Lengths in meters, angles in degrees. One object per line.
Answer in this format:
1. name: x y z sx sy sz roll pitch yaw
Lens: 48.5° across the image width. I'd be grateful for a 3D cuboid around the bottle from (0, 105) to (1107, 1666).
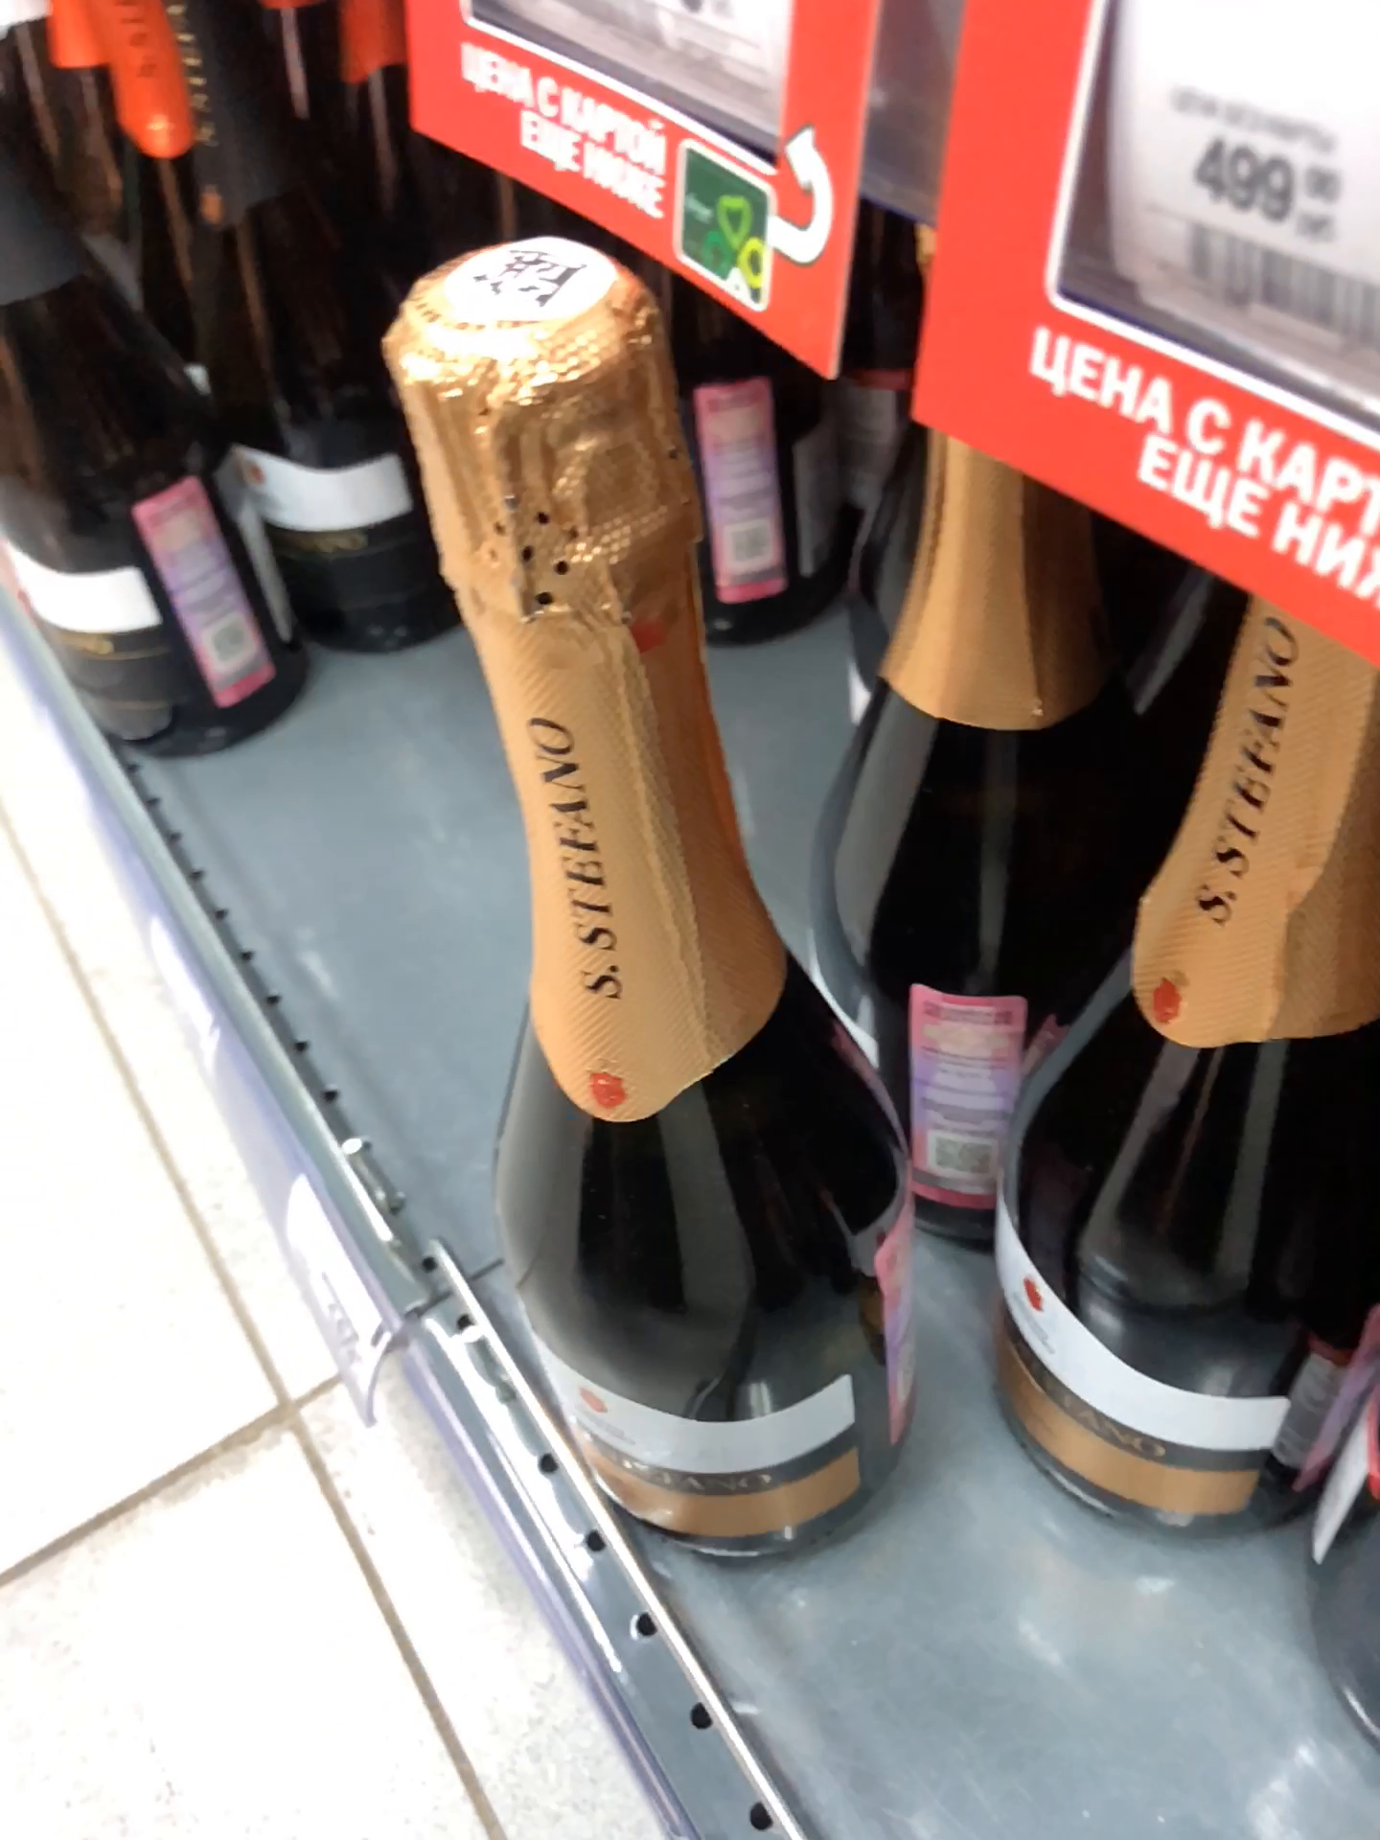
1. bottle: 0.001 0.026 0.292 0.100 0.299 0.090 23 55 26
